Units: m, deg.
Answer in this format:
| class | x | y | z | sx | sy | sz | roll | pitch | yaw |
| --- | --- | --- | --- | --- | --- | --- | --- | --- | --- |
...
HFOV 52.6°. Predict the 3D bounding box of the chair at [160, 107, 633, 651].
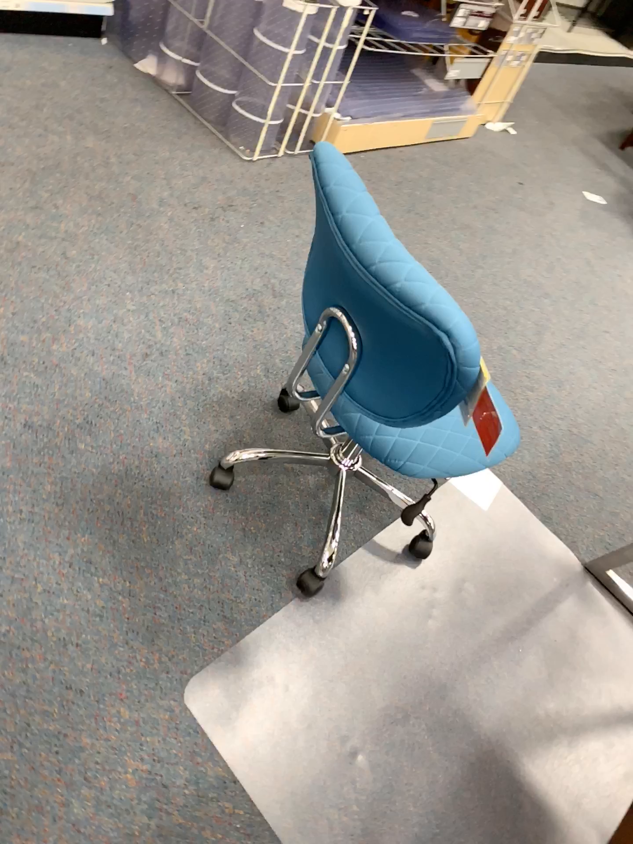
| class | x | y | z | sx | sy | sz | roll | pitch | yaw |
| --- | --- | --- | --- | --- | --- | --- | --- | --- | --- |
| chair | 0.181 | -0.073 | 1.322 | 0.666 | 0.775 | 0.599 | -12 | 58 | -36 |
